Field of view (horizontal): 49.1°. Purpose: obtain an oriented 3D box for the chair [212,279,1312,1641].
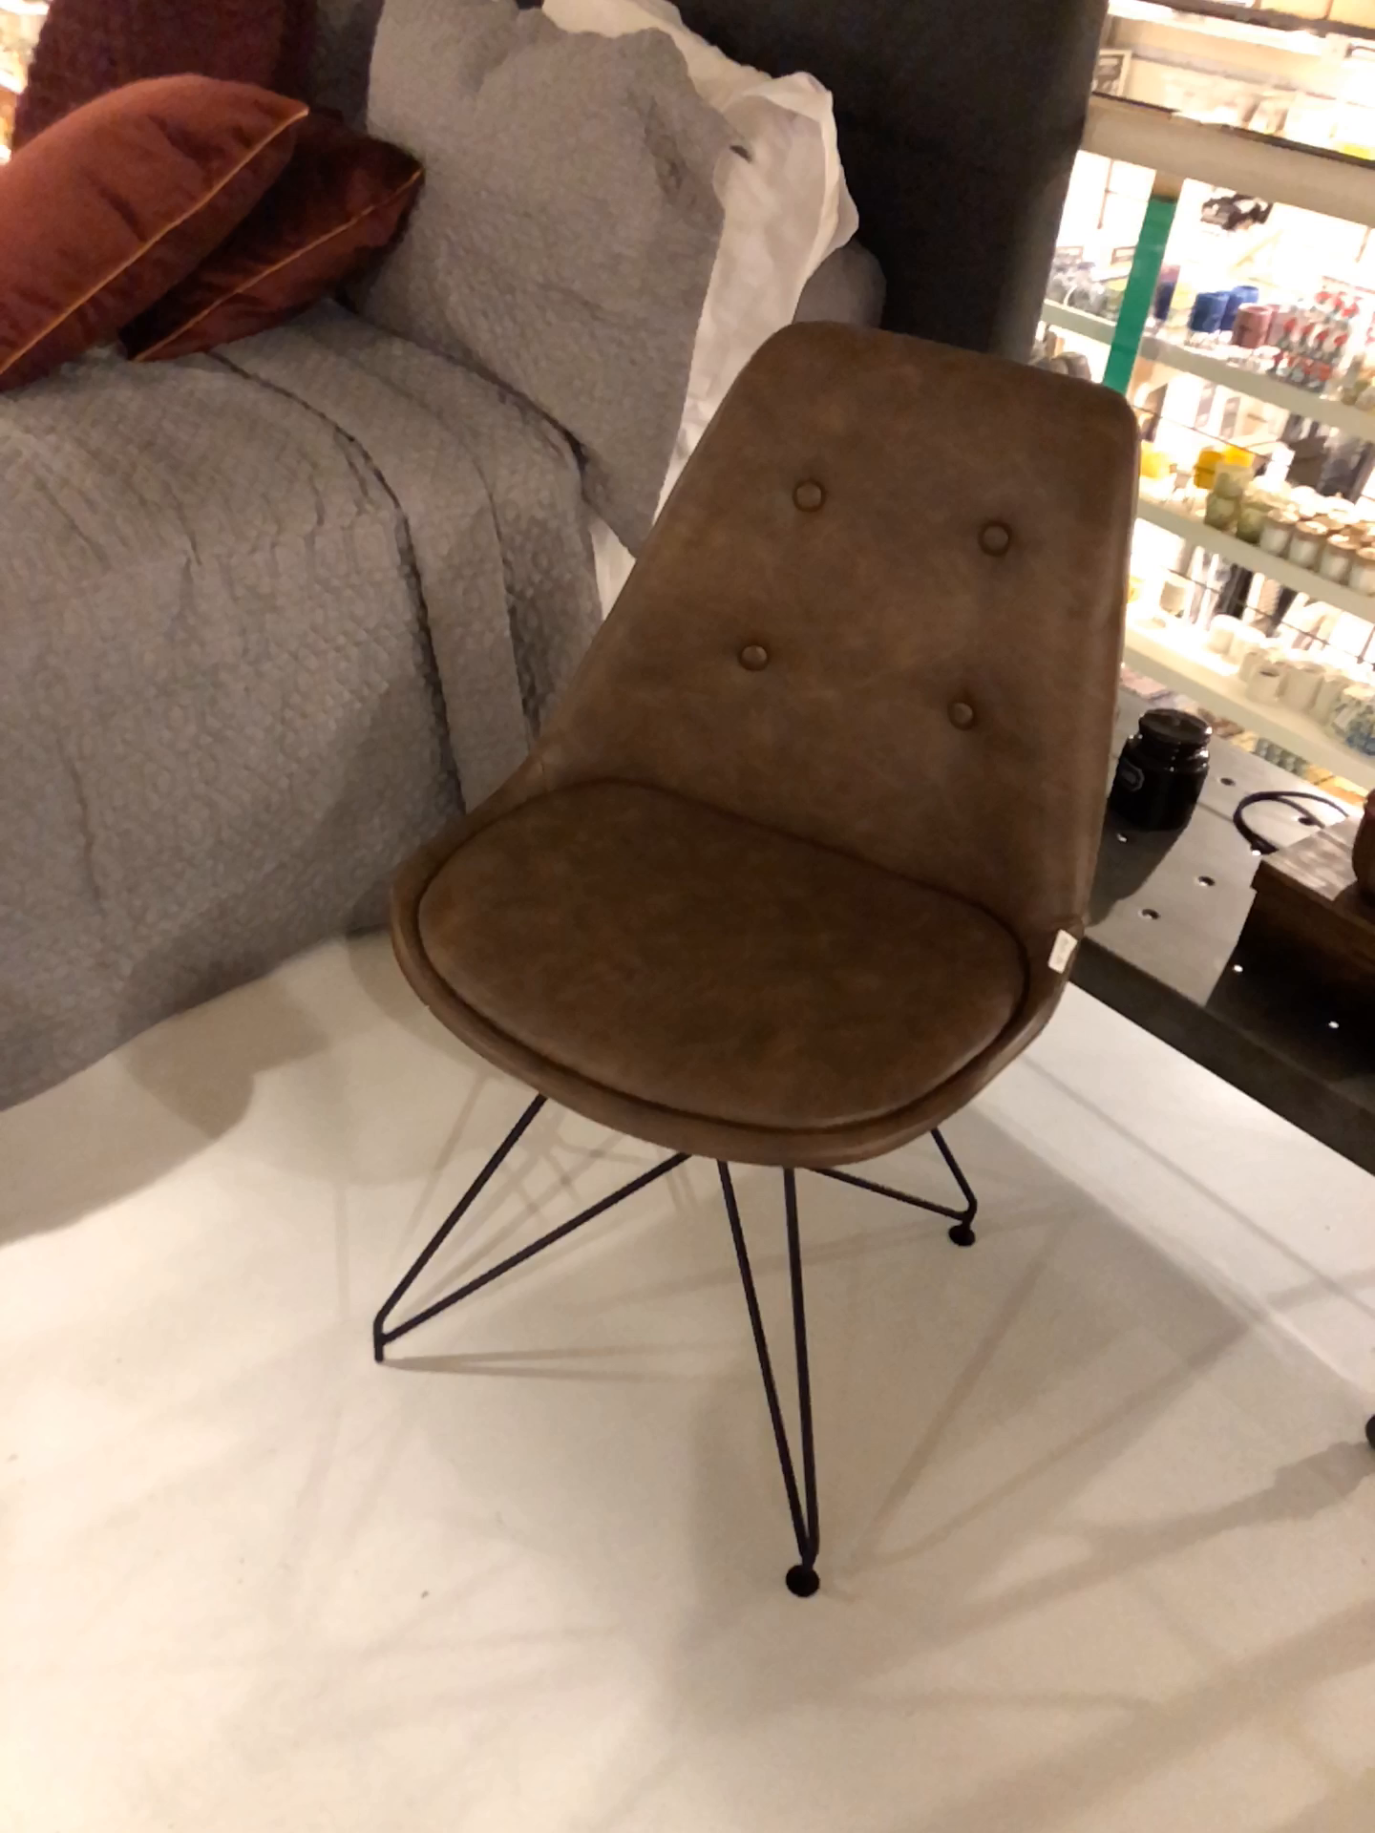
[{"bbox_3d":[0.051,0.000,1.170,0.511,0.754,0.554,22,38,20],"label":"chair"}]
